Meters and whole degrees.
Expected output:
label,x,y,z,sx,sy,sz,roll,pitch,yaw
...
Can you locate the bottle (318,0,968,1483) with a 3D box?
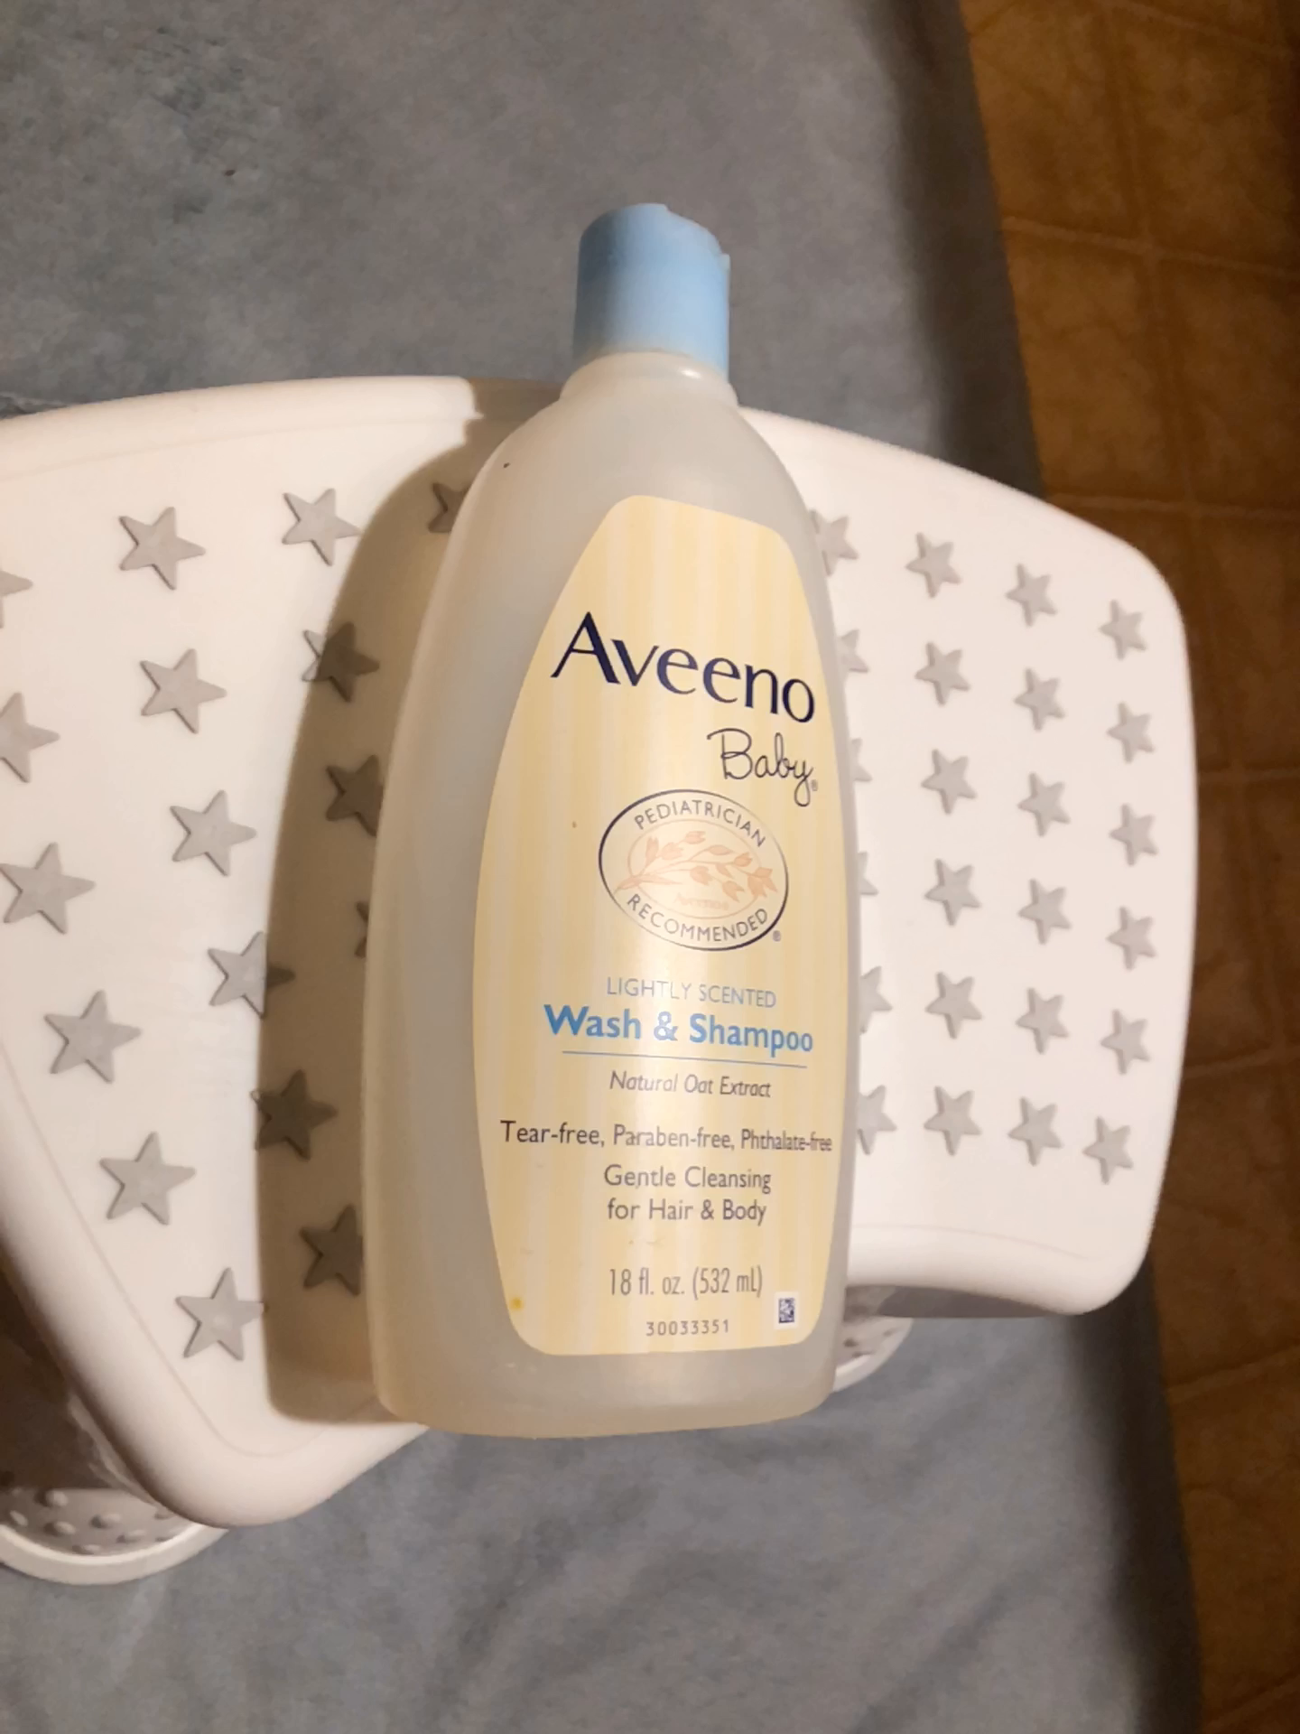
label,x,y,z,sx,sy,sz,roll,pitch,yaw
bottle,0.003,-0.023,0.264,0.100,0.040,0.240,8,76,-27
